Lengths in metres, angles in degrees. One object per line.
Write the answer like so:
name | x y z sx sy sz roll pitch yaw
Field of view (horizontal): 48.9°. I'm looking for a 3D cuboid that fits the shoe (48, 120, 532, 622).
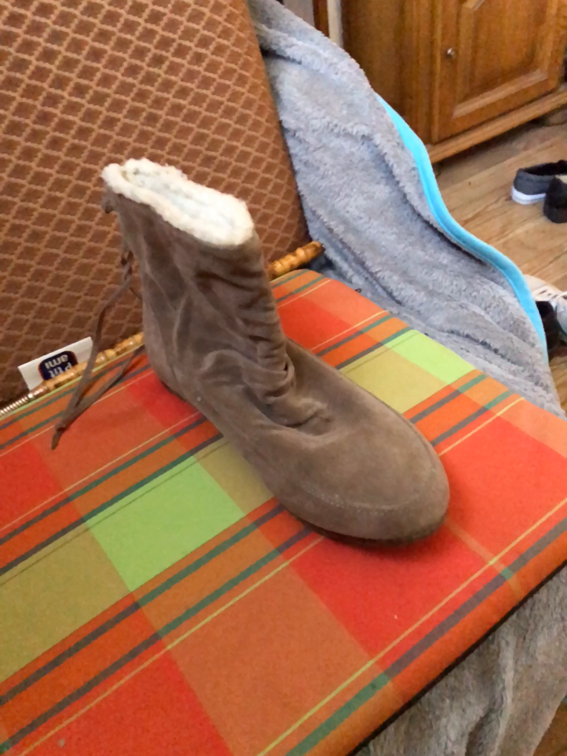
shoe | -0.010 -0.021 0.364 0.100 0.159 0.261 -33 49 -21
